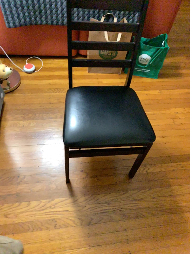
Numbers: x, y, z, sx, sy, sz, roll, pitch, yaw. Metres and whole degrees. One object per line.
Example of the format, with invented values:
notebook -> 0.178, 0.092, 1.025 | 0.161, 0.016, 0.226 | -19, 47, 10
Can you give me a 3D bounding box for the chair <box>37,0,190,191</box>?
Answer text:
chair -> 0.056, -0.128, 0.906 | 0.490, 0.867, 0.552 | -4, 57, -9
